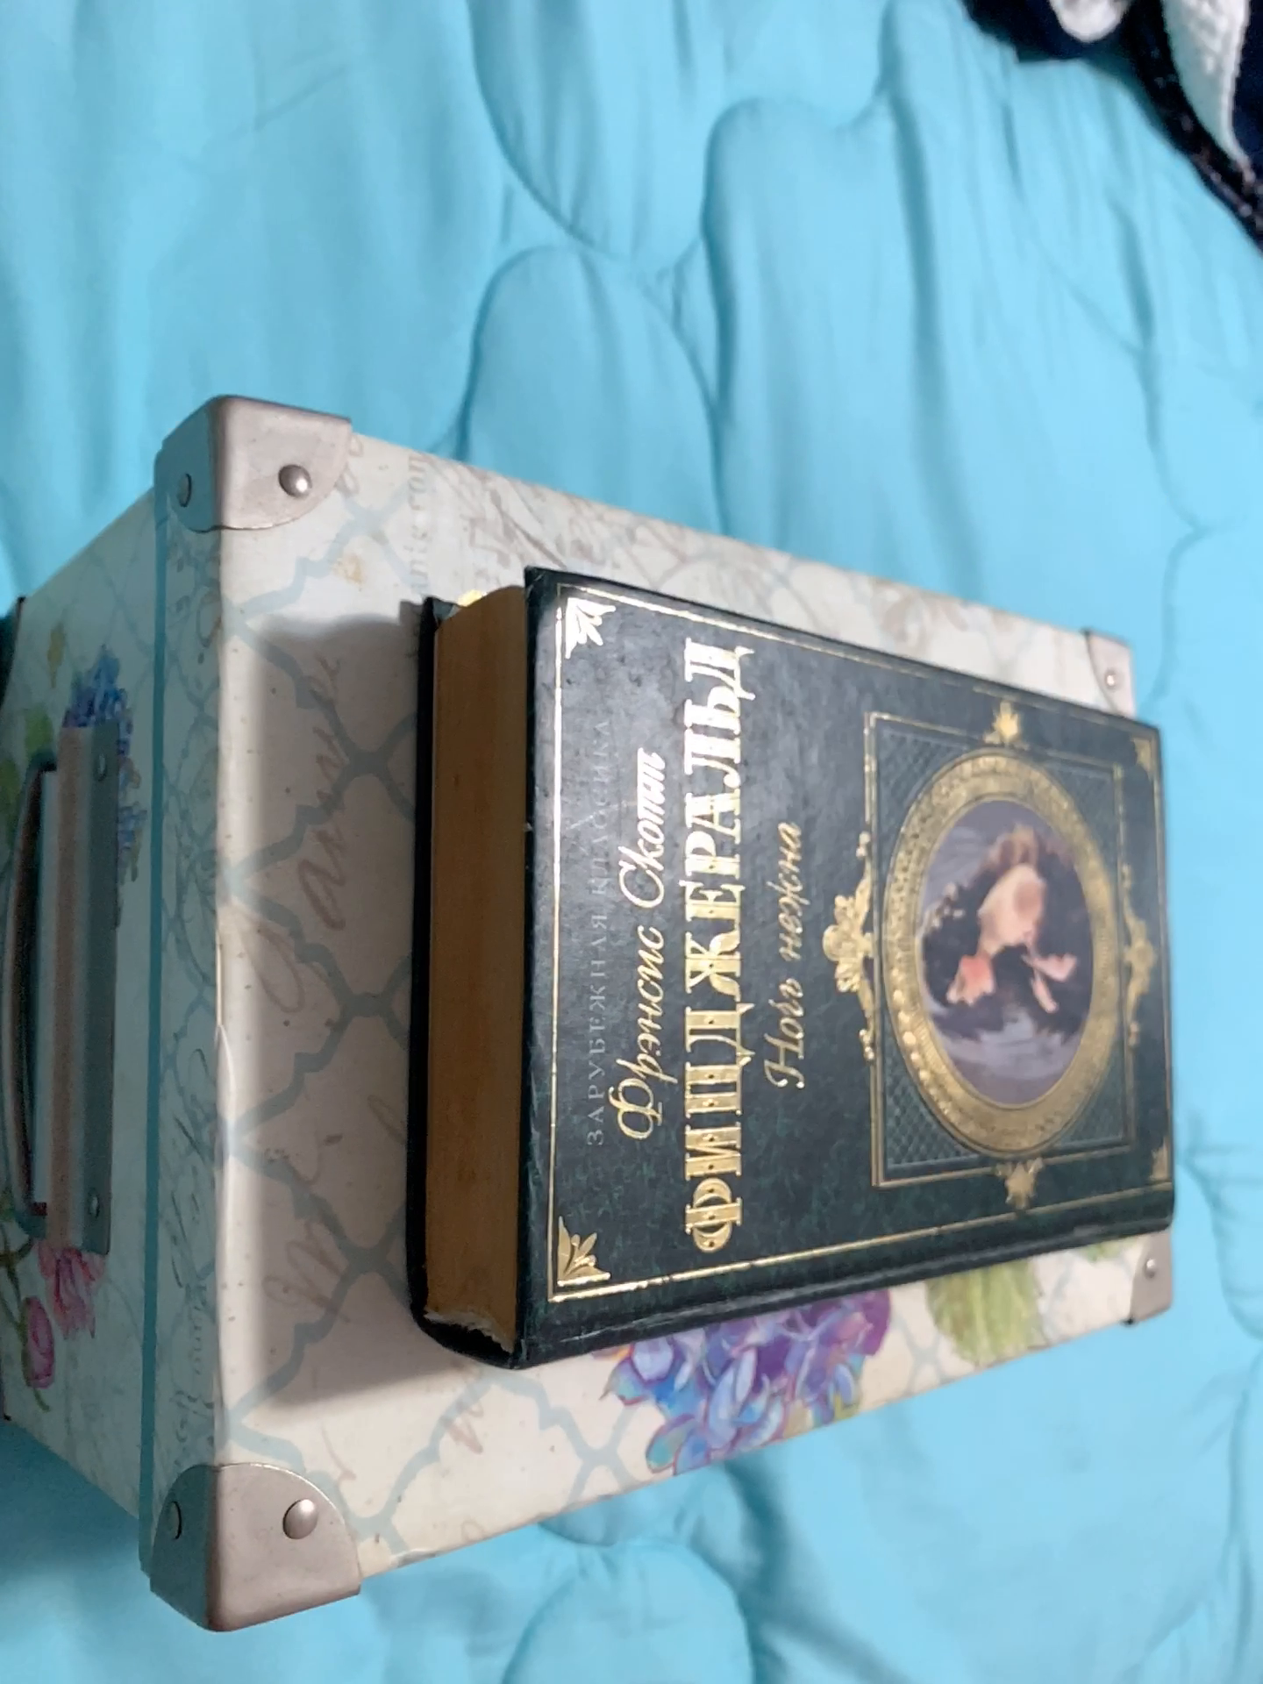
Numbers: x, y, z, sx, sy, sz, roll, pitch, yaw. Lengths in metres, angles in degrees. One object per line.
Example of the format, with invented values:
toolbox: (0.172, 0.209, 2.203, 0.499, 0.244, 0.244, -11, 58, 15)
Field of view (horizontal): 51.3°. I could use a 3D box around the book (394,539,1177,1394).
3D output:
book: (0.052, 0.027, 0.299, 0.221, 0.030, 0.140, 6, 81, -40)
